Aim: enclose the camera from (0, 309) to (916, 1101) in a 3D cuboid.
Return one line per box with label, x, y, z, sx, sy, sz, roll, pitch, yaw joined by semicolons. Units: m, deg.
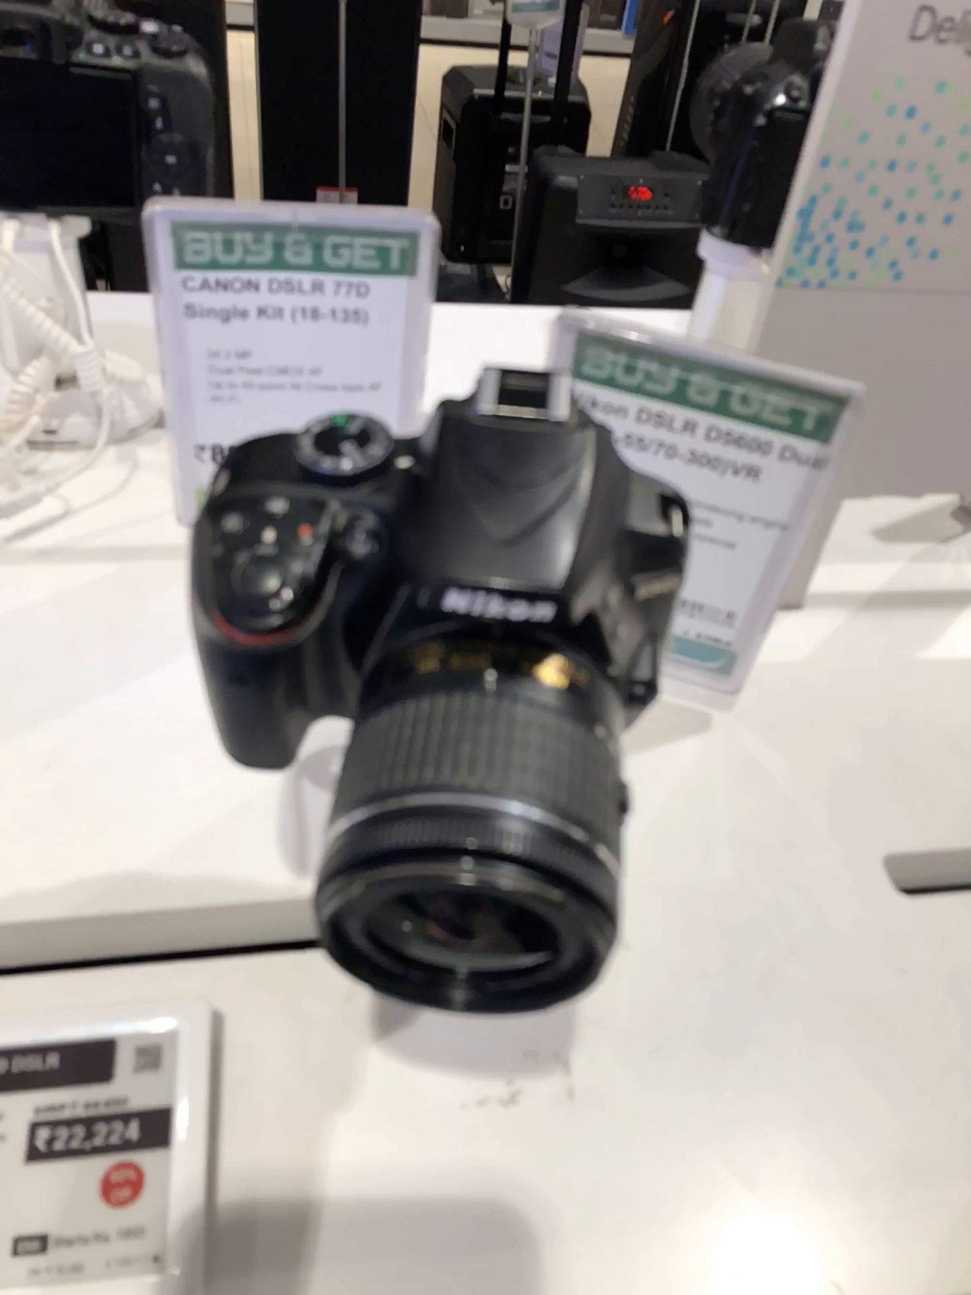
camera;-0.008;0.009;0.216;0.130;0.089;0.121;6;45;-3
